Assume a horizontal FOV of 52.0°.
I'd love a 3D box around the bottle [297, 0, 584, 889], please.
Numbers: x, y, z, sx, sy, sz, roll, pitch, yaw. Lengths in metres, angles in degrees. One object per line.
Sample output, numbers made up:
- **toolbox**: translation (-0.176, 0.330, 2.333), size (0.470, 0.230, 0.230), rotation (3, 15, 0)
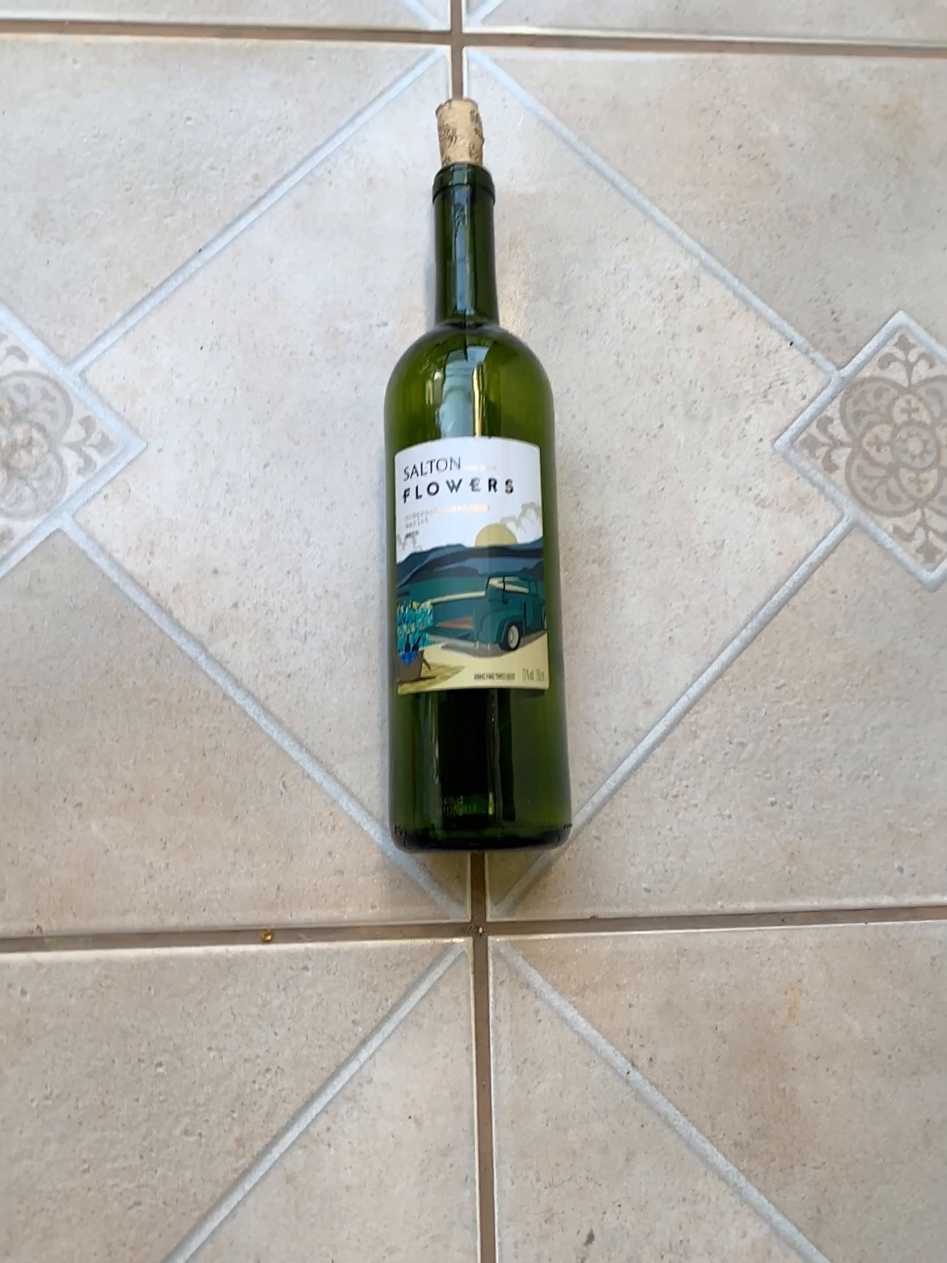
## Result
- **bottle**: translation (-0.014, -0.079, 0.407), size (0.080, 0.080, 0.350), rotation (-6, 81, 3)
